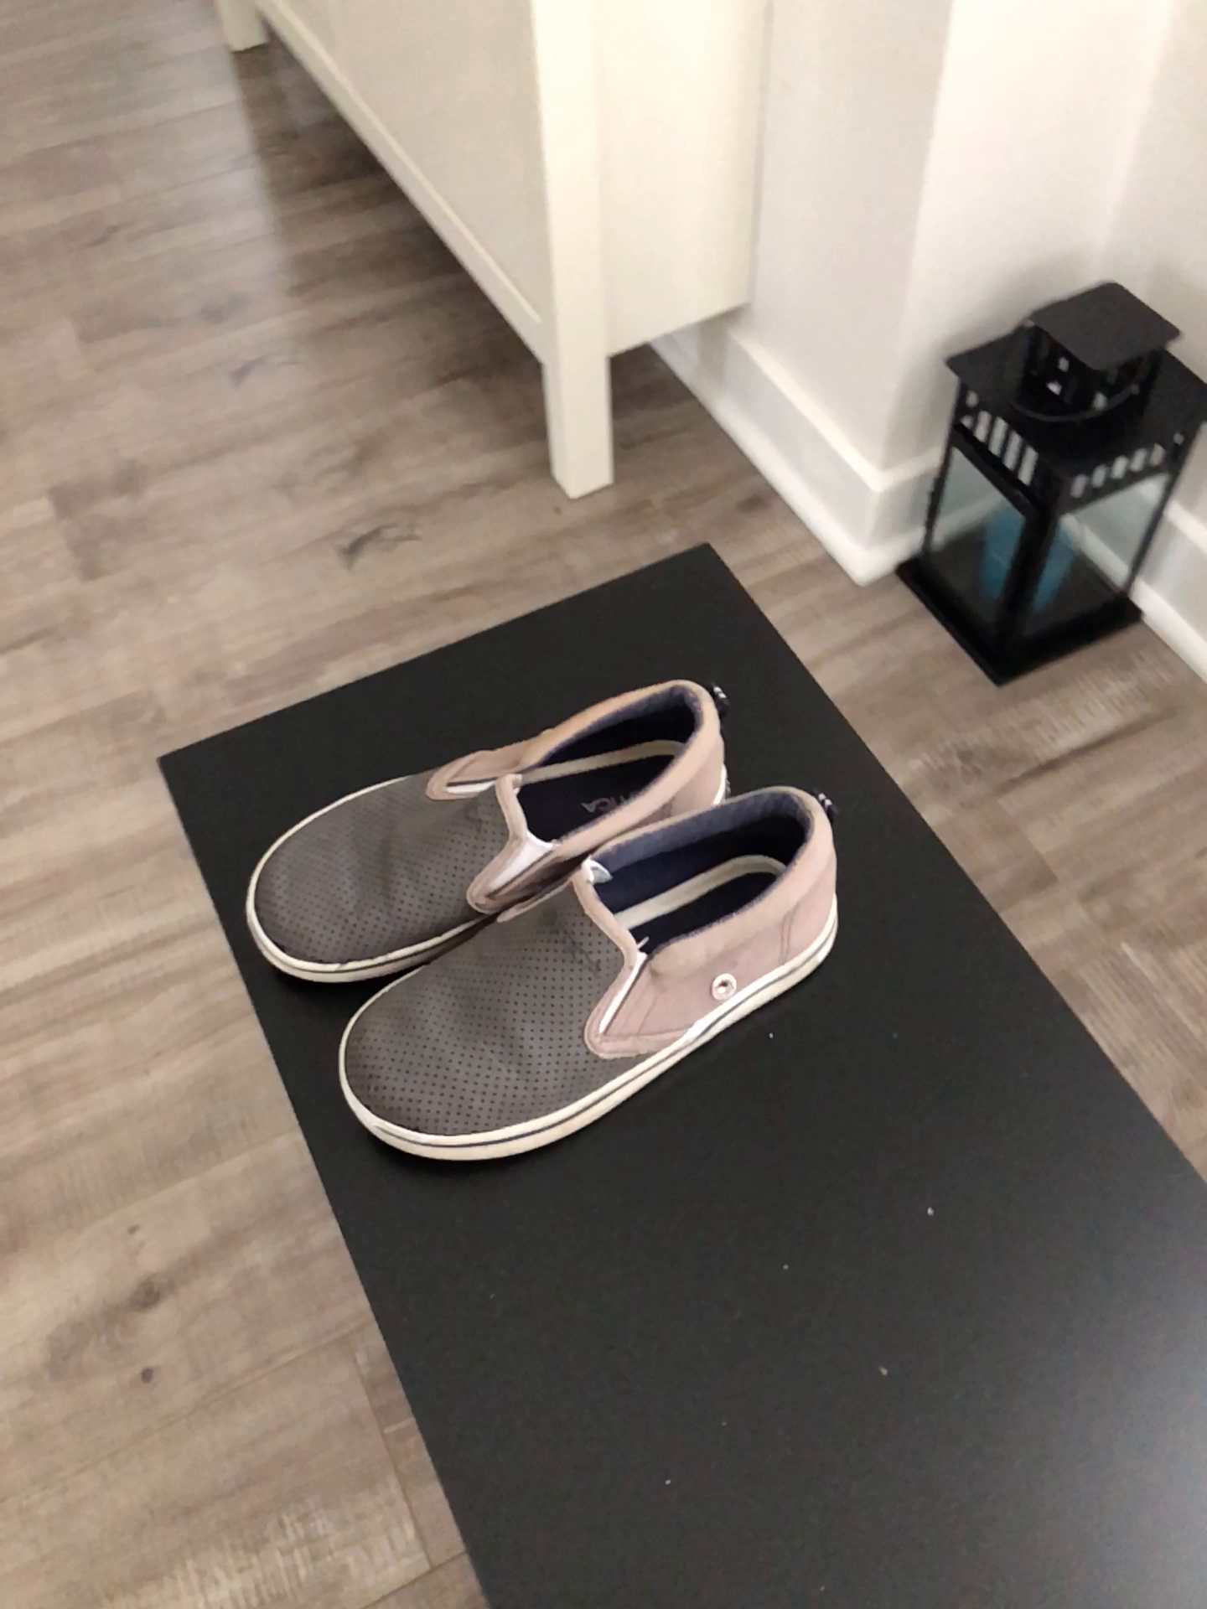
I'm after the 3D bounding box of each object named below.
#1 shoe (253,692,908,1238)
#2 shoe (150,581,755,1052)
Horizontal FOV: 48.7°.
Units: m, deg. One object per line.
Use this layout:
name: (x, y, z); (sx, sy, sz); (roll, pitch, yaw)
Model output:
shoe: (-0.005, 0.050, 0.442); (0.190, 0.070, 0.078); (-27, 59, -14)
shoe: (-0.050, 0.003, 0.479); (0.190, 0.070, 0.078); (-23, 58, -12)
